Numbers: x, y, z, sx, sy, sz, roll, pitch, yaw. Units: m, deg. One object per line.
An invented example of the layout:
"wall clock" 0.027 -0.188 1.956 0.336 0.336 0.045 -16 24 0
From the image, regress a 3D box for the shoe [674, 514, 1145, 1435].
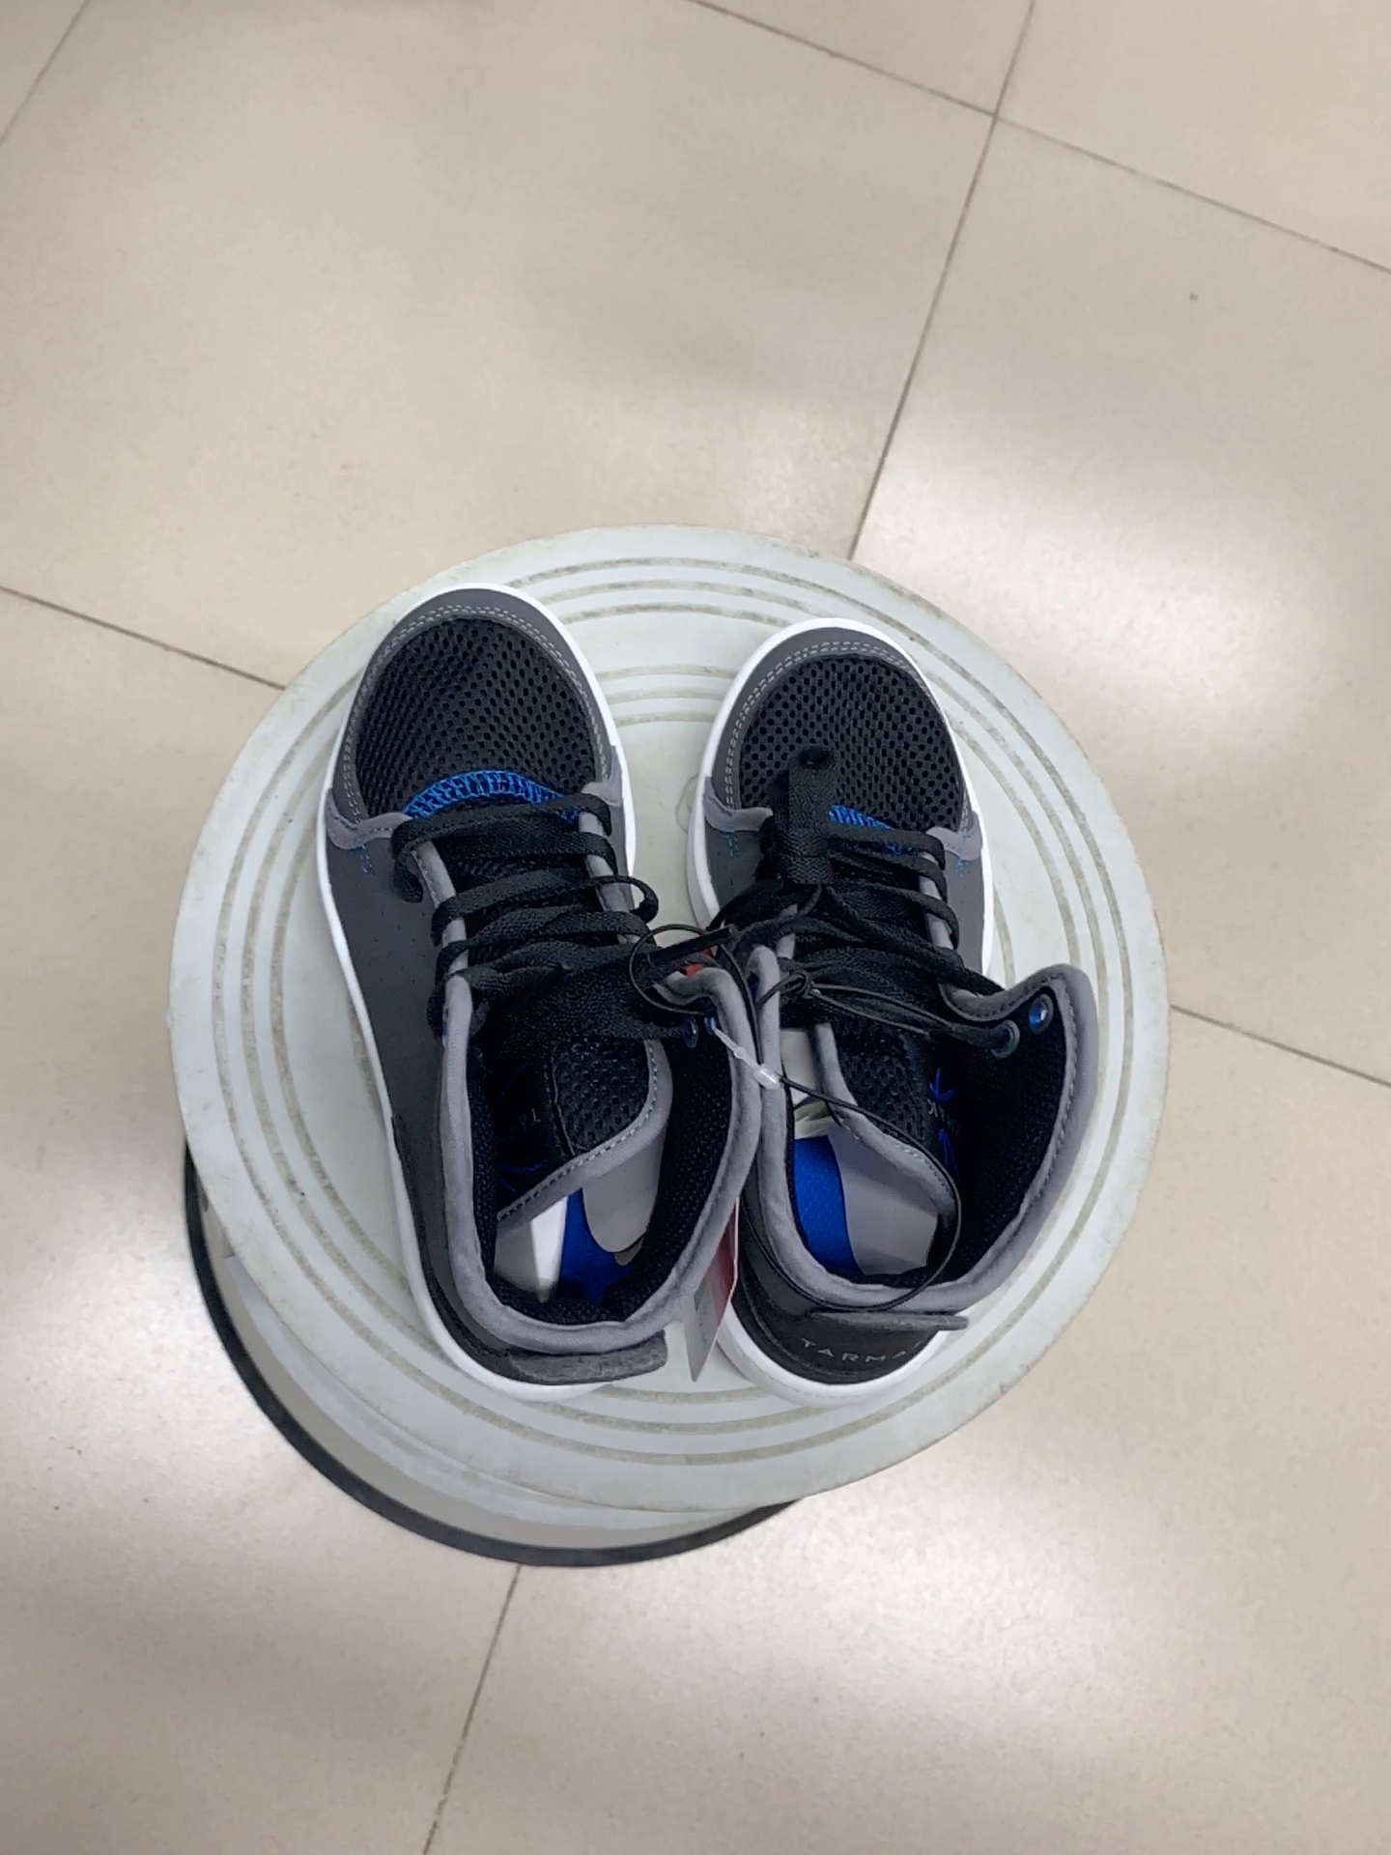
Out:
"shoe" 0.043 0.019 0.364 0.080 0.120 0.200 3 74 -7

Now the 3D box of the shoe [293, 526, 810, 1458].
"shoe" -0.041 0.017 0.360 0.090 0.100 0.200 -6 76 -10
